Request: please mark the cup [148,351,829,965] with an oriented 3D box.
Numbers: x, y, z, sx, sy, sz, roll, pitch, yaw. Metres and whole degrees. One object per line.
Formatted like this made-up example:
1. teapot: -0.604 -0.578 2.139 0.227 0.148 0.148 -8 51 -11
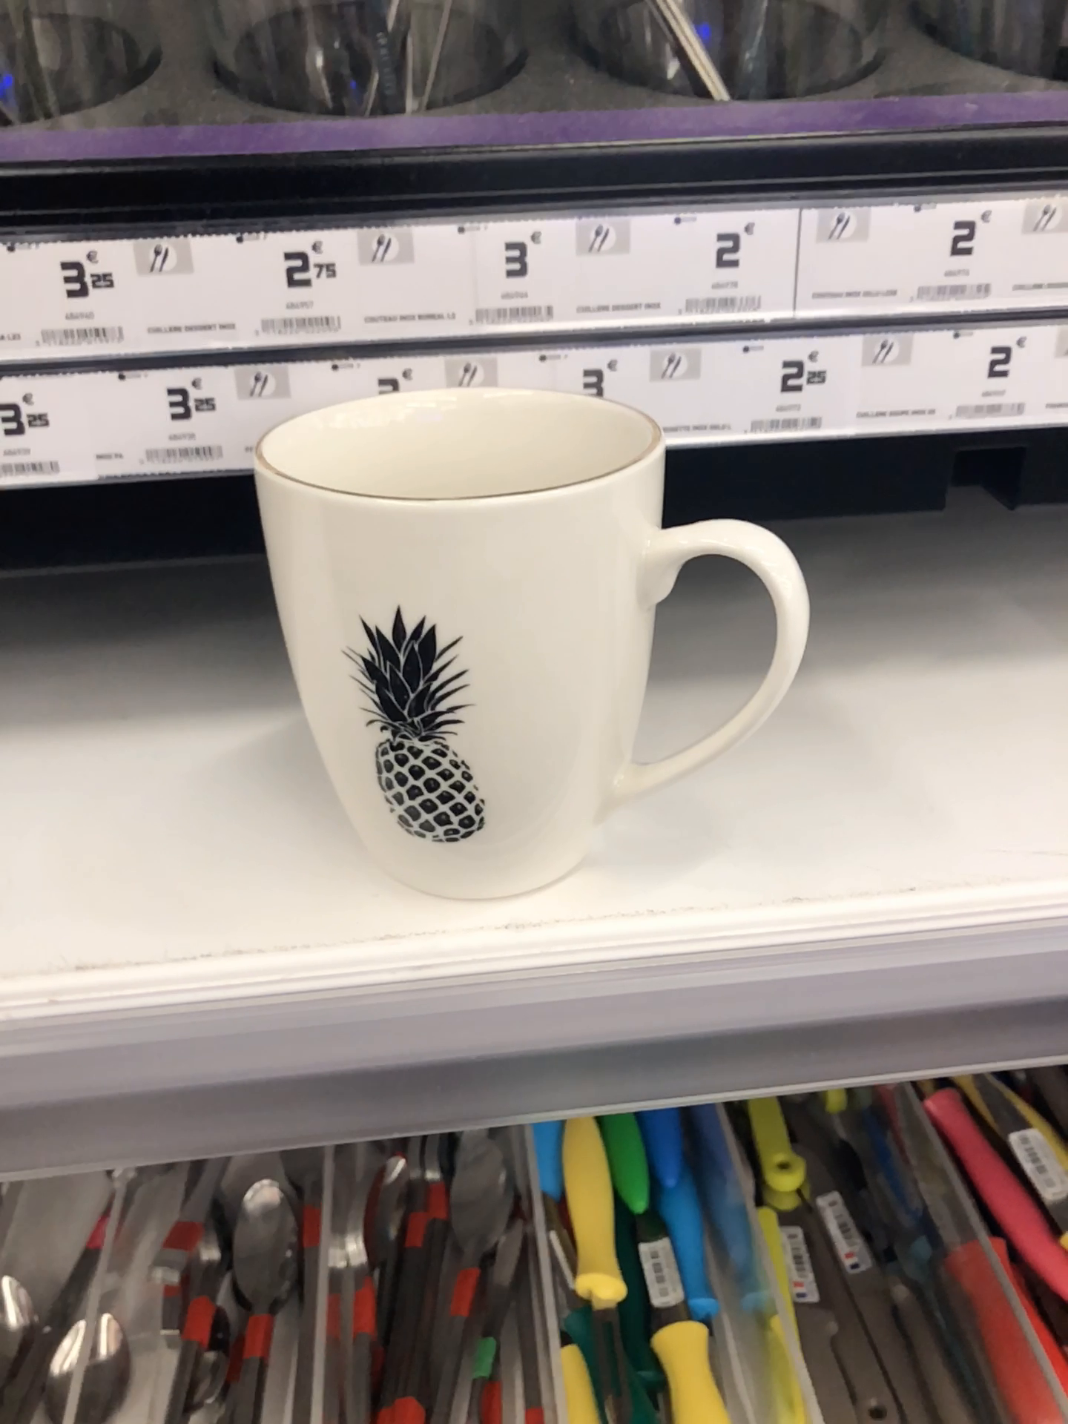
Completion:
1. cup: -0.004 -0.019 0.264 0.114 0.093 0.083 10 32 20
